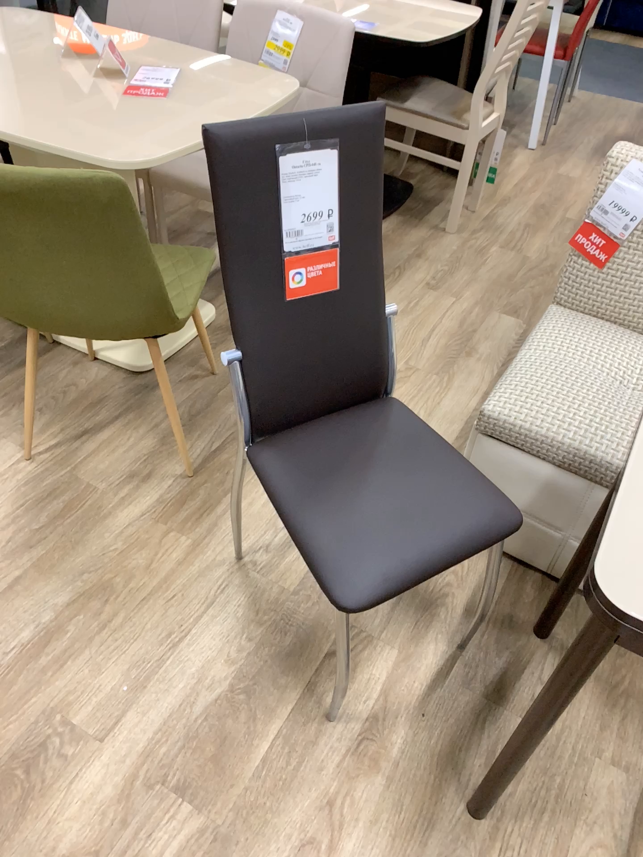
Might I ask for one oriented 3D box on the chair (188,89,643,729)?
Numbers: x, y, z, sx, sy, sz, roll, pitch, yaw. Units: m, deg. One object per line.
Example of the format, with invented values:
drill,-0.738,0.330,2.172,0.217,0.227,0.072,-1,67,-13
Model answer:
chair,0.086,0.017,1.199,0.421,0.995,0.502,-19,48,-23
